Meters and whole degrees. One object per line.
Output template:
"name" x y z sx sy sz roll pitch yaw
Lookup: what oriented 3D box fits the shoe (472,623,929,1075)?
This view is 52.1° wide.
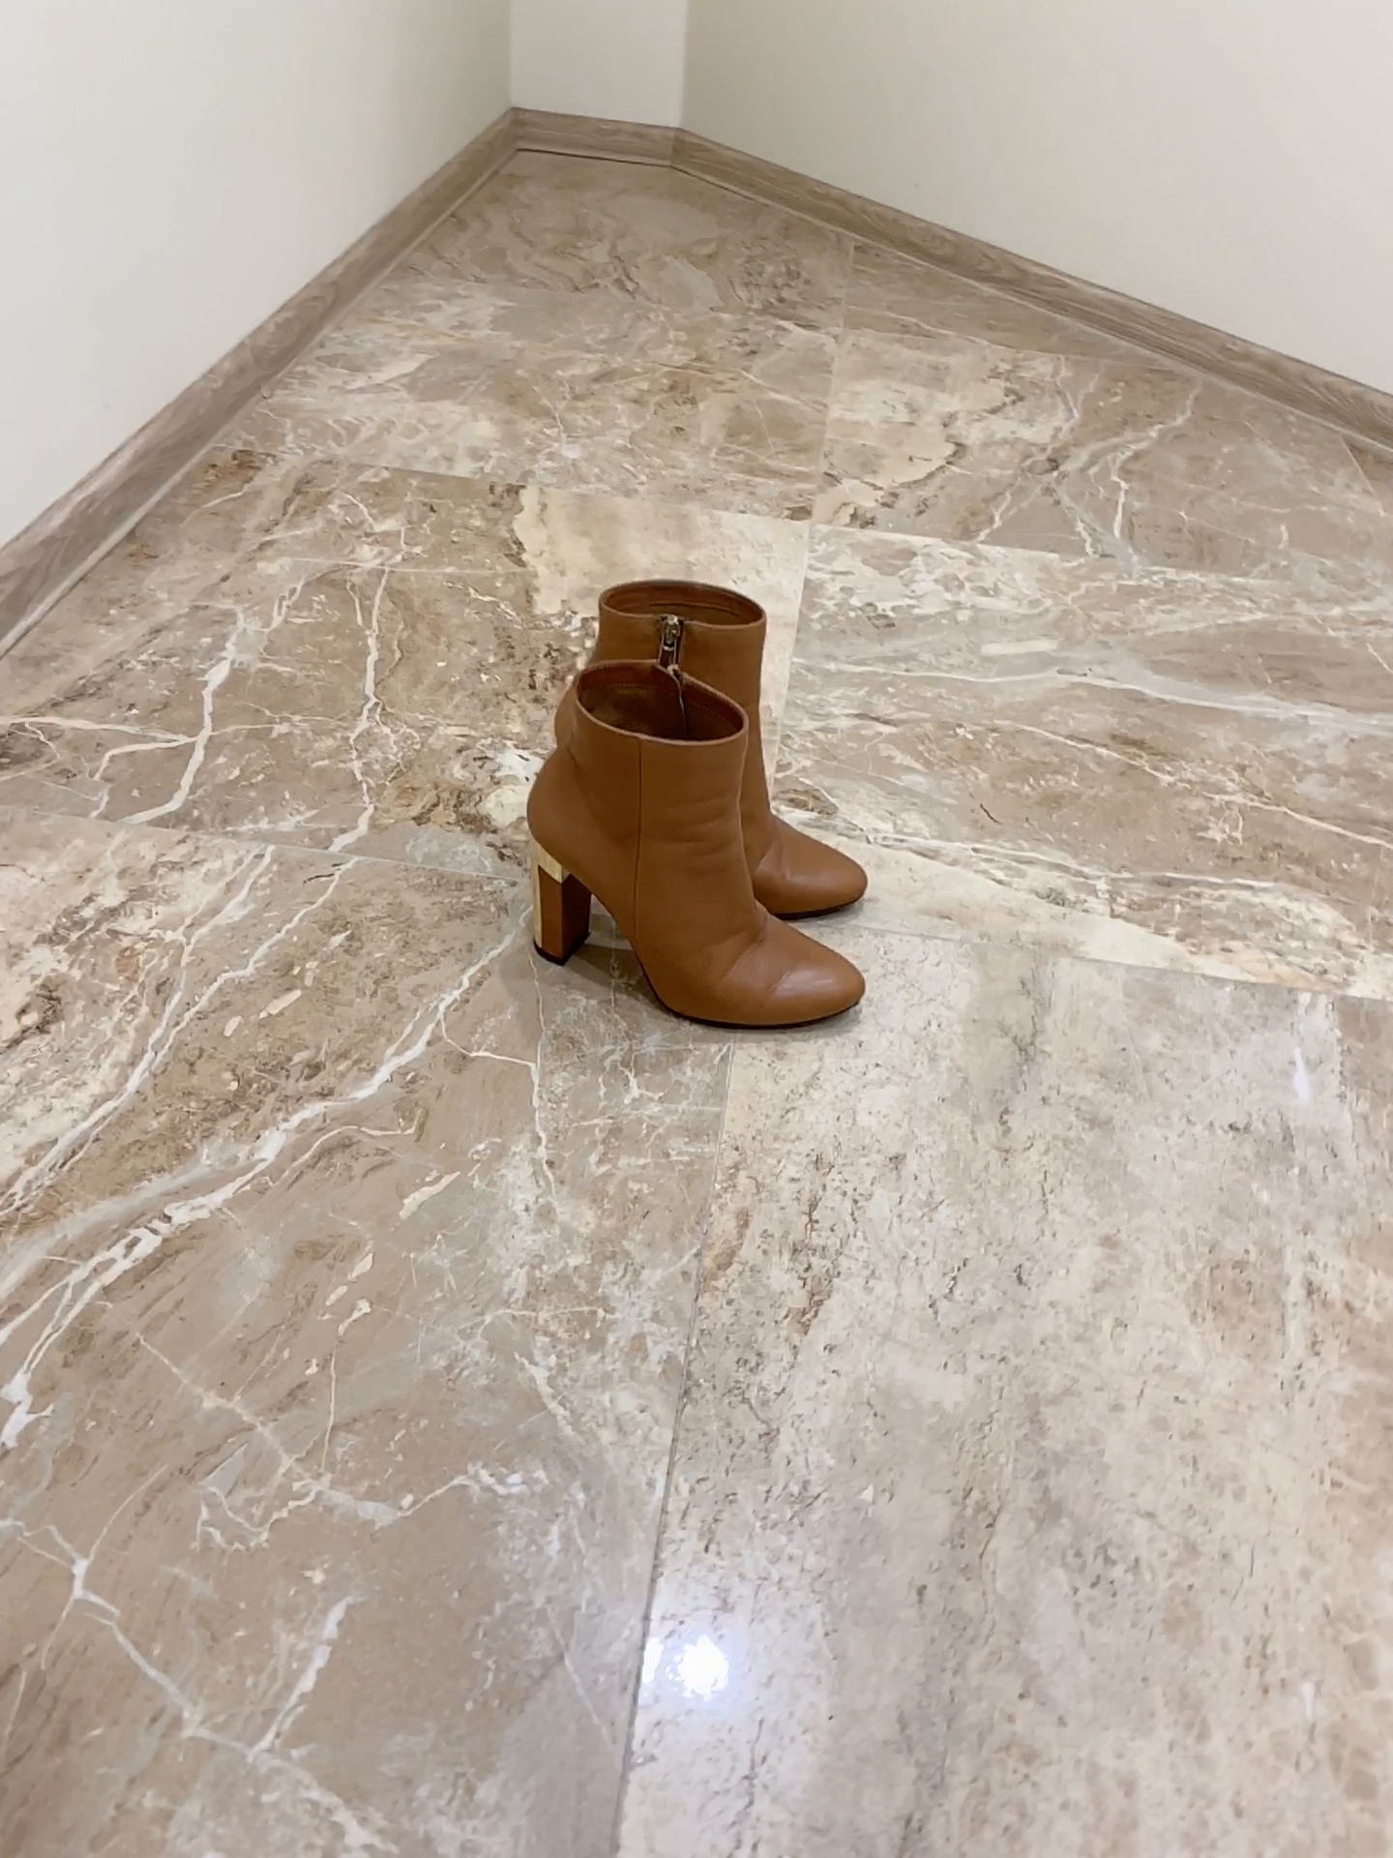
"shoe" -0.004 -0.044 0.793 0.220 0.185 0.090 15 40 10

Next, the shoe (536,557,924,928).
"shoe" 0.017 -0.111 0.864 0.210 0.175 0.091 8 39 2
